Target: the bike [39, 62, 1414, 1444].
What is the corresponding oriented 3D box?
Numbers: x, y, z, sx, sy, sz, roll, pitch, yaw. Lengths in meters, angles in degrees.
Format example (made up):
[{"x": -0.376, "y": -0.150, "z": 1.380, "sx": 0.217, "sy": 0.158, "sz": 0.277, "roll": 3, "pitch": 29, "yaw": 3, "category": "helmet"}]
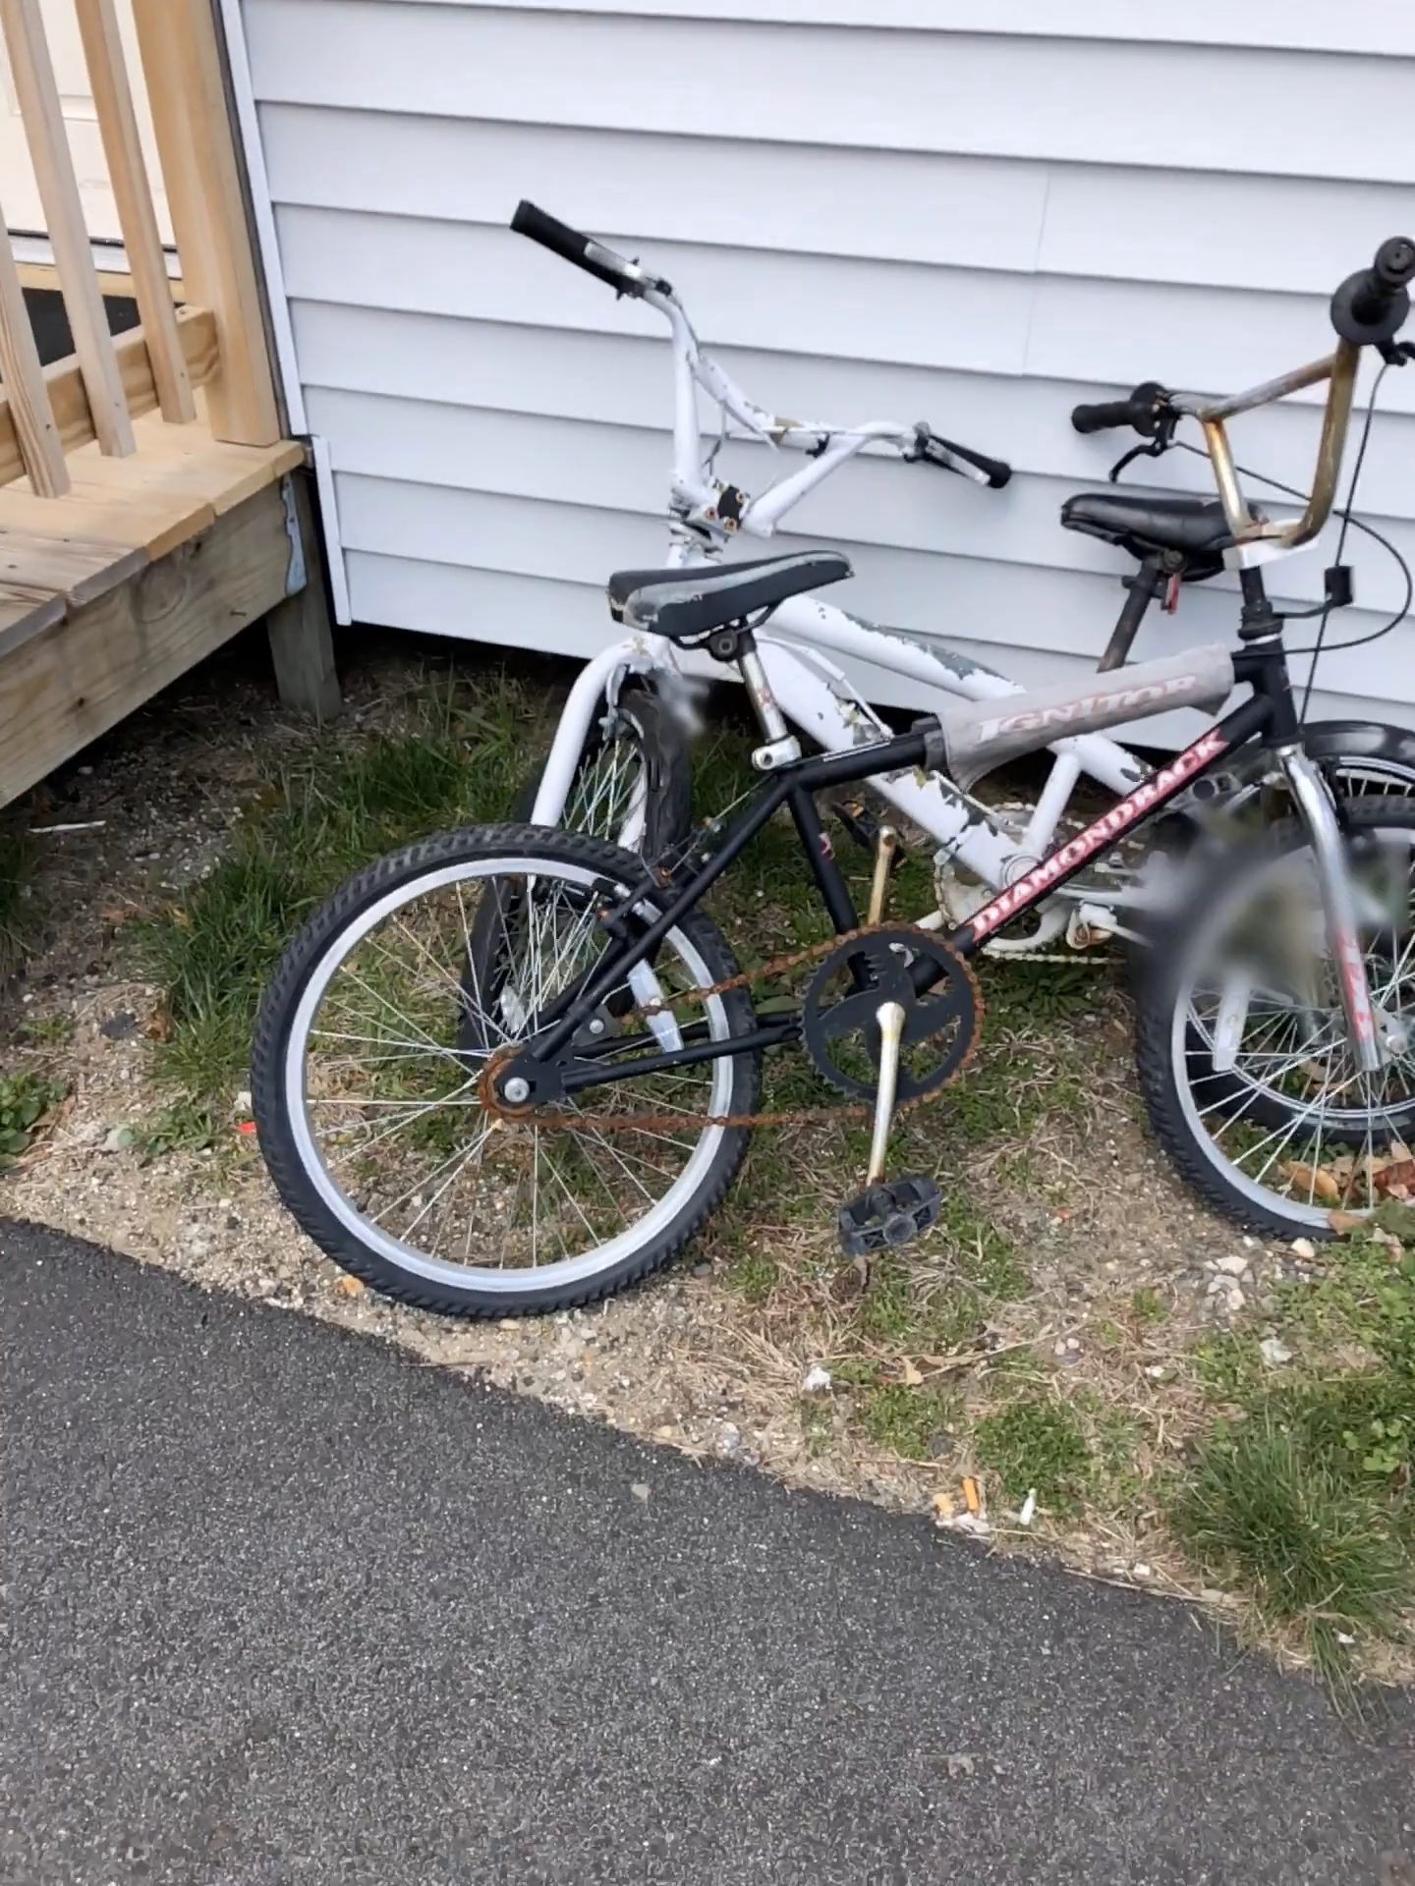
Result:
[{"x": 0.202, "y": -0.228, "z": 1.493, "sx": 1.295, "sy": 0.932, "sz": 0.761, "roll": -7, "pitch": 37, "yaw": -7, "category": "bike"}]
